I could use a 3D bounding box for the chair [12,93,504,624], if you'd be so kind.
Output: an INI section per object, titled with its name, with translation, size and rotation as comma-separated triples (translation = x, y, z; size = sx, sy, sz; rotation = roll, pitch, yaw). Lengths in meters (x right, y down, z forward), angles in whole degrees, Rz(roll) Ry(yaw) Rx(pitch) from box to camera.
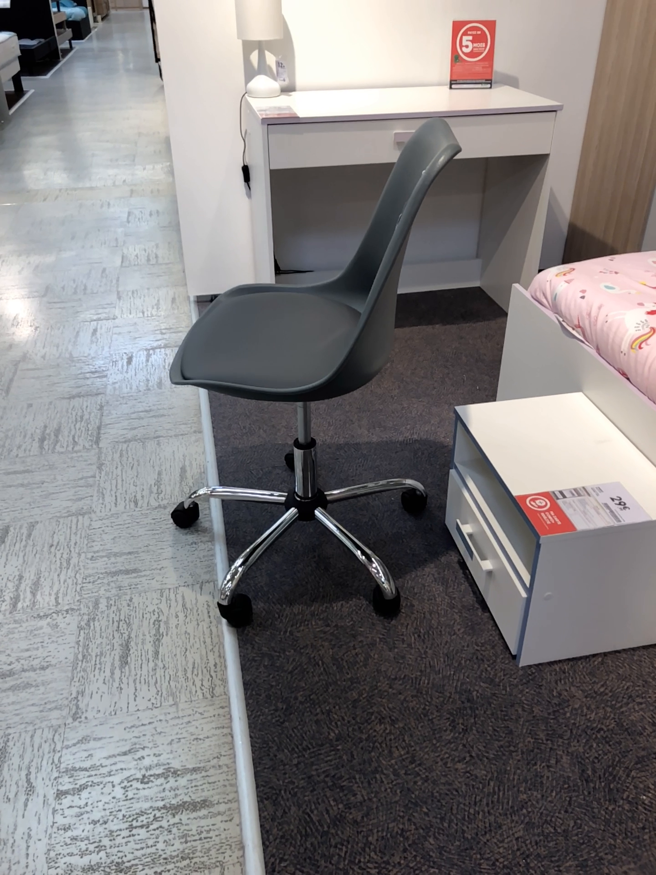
[chair]
translation = -0.078, -0.165, 1.390
size = 0.630, 0.835, 0.604
rotation = 0, 32, 2
